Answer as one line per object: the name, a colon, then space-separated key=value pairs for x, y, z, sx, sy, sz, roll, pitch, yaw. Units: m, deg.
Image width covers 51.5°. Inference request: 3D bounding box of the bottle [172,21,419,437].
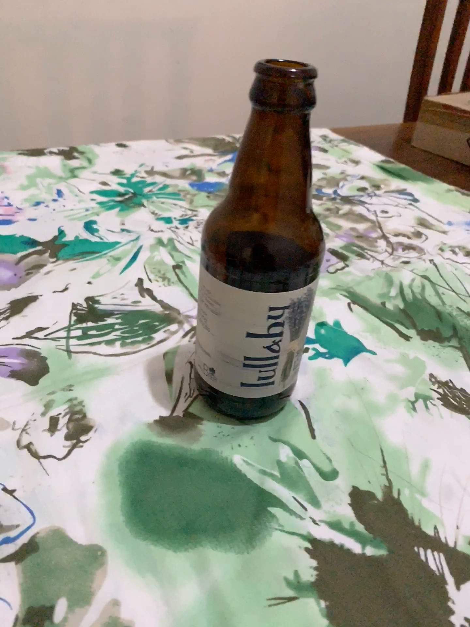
bottle: x=0.013 y=-0.034 z=0.240 sx=0.070 sy=0.179 sz=0.070 roll=4 pitch=35 yaw=-3
